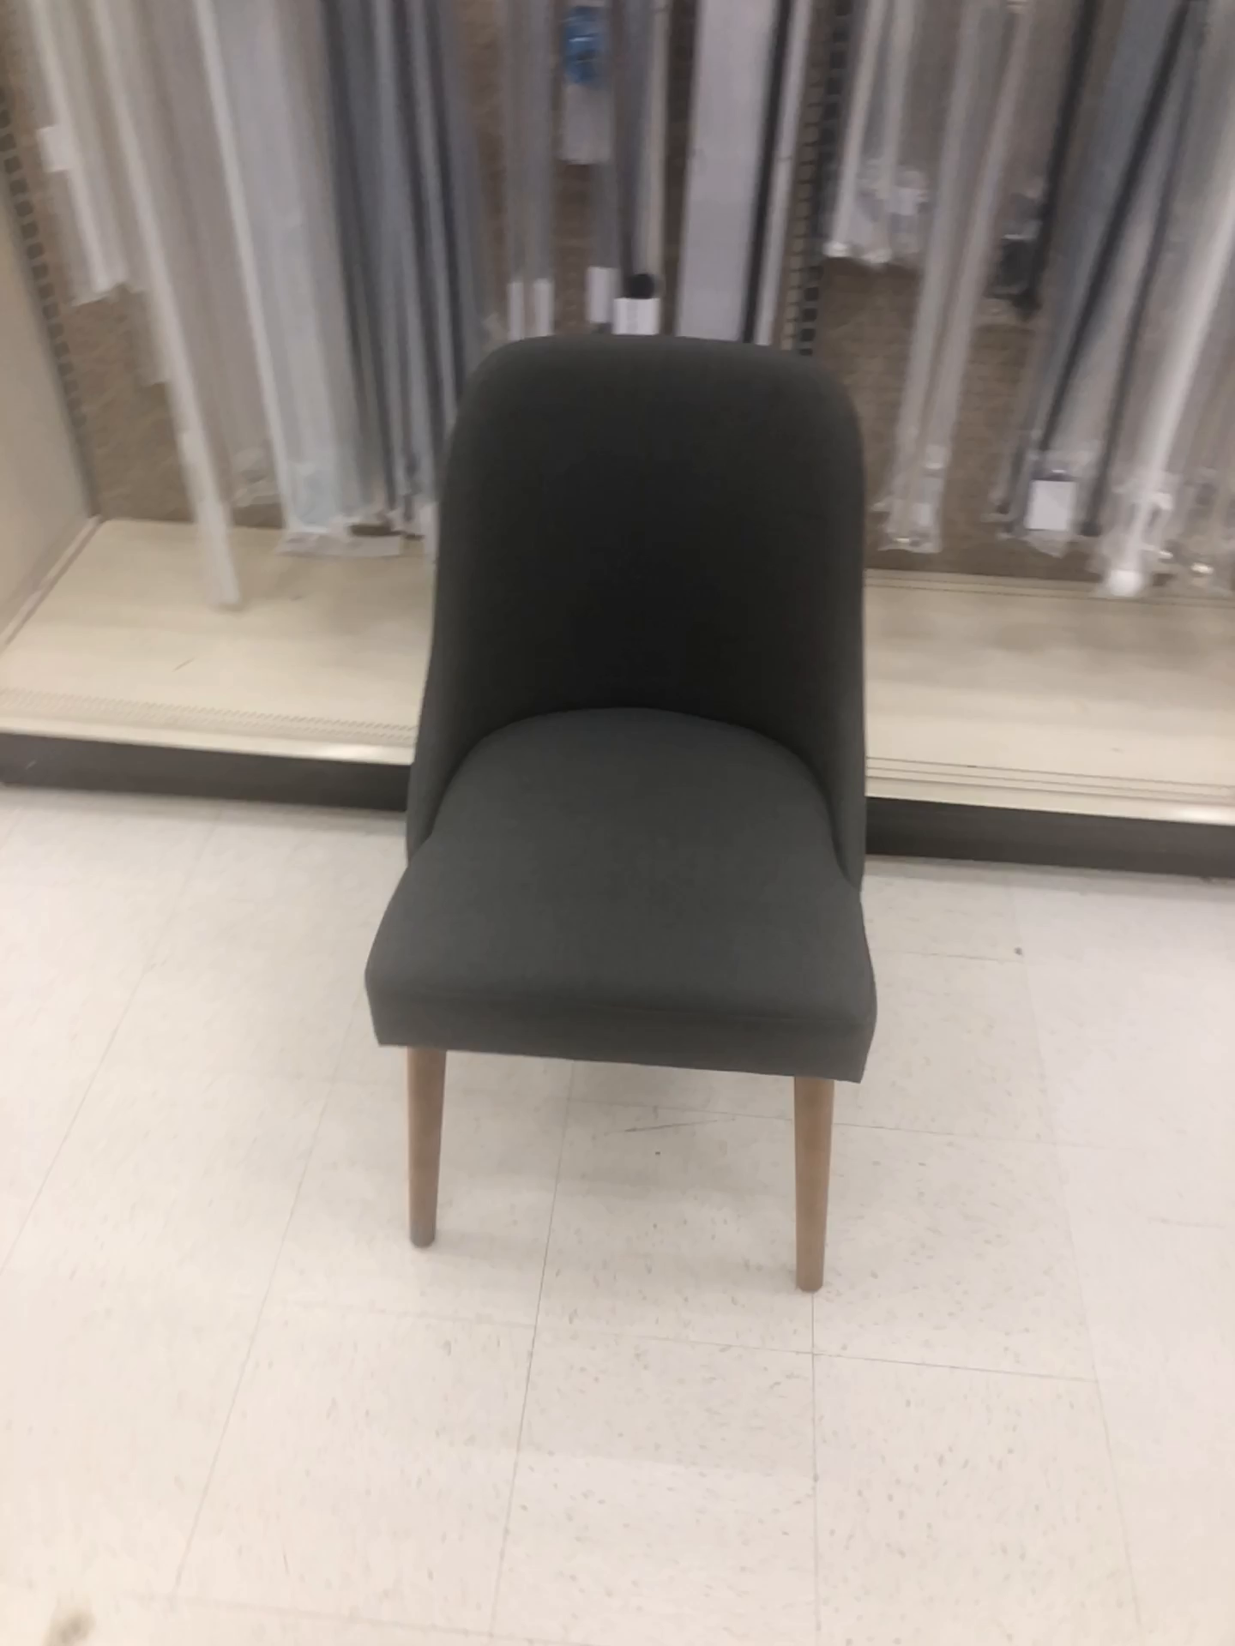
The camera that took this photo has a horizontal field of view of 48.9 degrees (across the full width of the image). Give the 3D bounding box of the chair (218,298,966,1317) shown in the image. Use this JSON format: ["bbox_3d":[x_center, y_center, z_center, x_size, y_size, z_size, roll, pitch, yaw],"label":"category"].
[{"bbox_3d":[0.003,0.000,1.430,0.513,0.859,0.589,4,41,4],"label":"chair"}]
